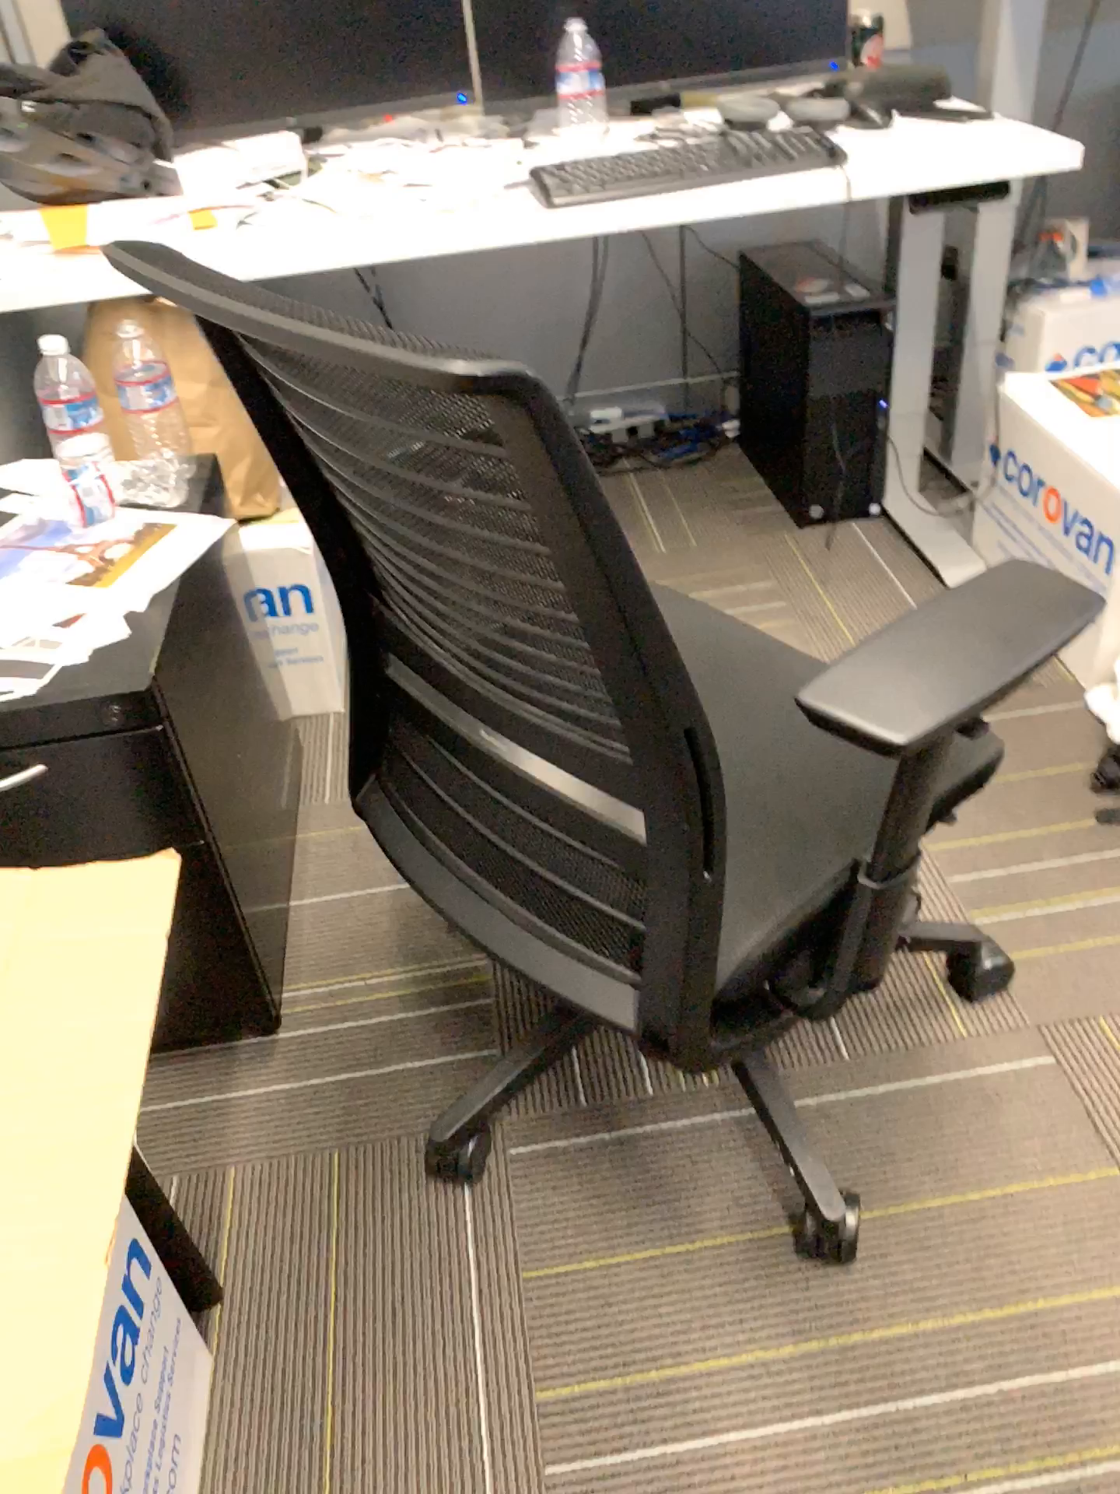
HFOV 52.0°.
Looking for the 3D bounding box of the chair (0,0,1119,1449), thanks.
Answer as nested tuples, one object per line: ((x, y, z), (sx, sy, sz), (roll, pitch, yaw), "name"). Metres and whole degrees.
((0.086, -0.082, 1.036), (0.663, 0.914, 0.681), (28, 49, 37), "chair")
